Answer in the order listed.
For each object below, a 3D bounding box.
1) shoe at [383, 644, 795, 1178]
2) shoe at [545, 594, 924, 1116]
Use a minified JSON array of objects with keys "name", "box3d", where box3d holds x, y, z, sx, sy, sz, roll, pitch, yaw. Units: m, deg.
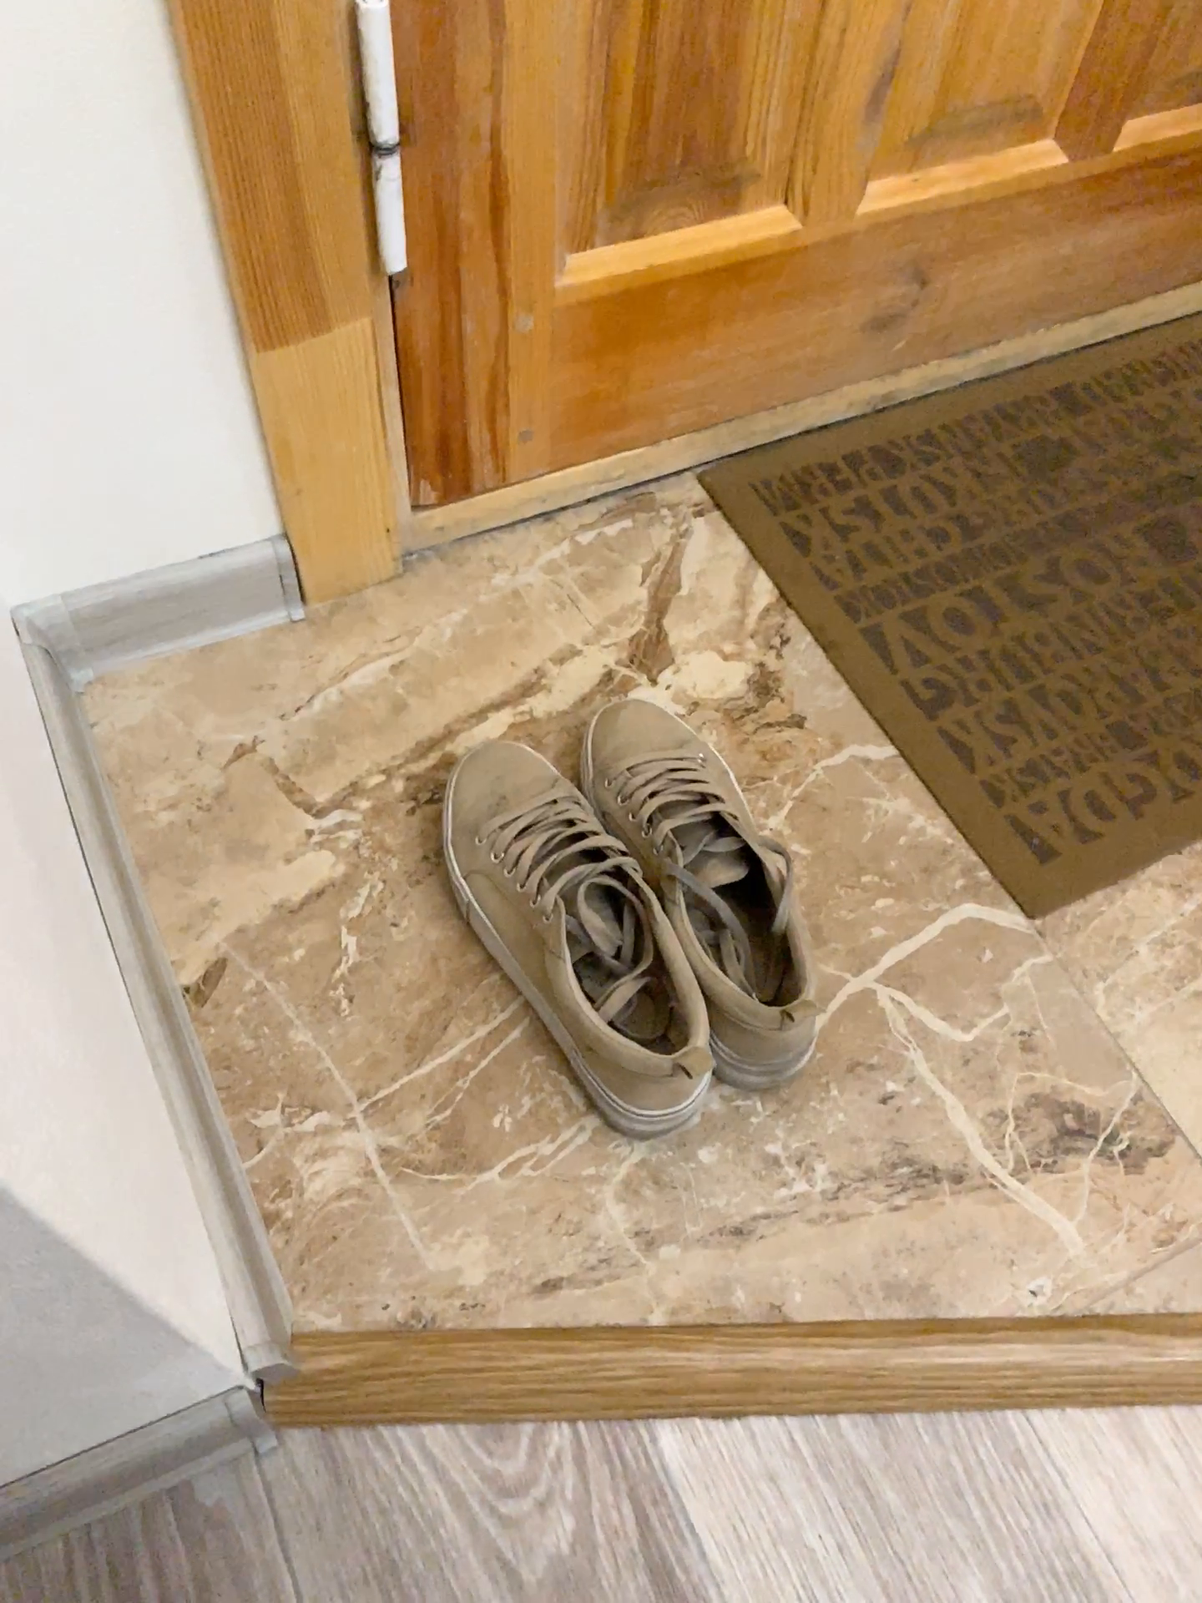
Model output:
[{"name":"shoe","box3d":[-0.015,0.050,0.635,0.090,0.100,0.241,-24,62,-18]},{"name":"shoe","box3d":[0.056,0.022,0.647,0.090,0.100,0.241,-17,60,-14]}]
